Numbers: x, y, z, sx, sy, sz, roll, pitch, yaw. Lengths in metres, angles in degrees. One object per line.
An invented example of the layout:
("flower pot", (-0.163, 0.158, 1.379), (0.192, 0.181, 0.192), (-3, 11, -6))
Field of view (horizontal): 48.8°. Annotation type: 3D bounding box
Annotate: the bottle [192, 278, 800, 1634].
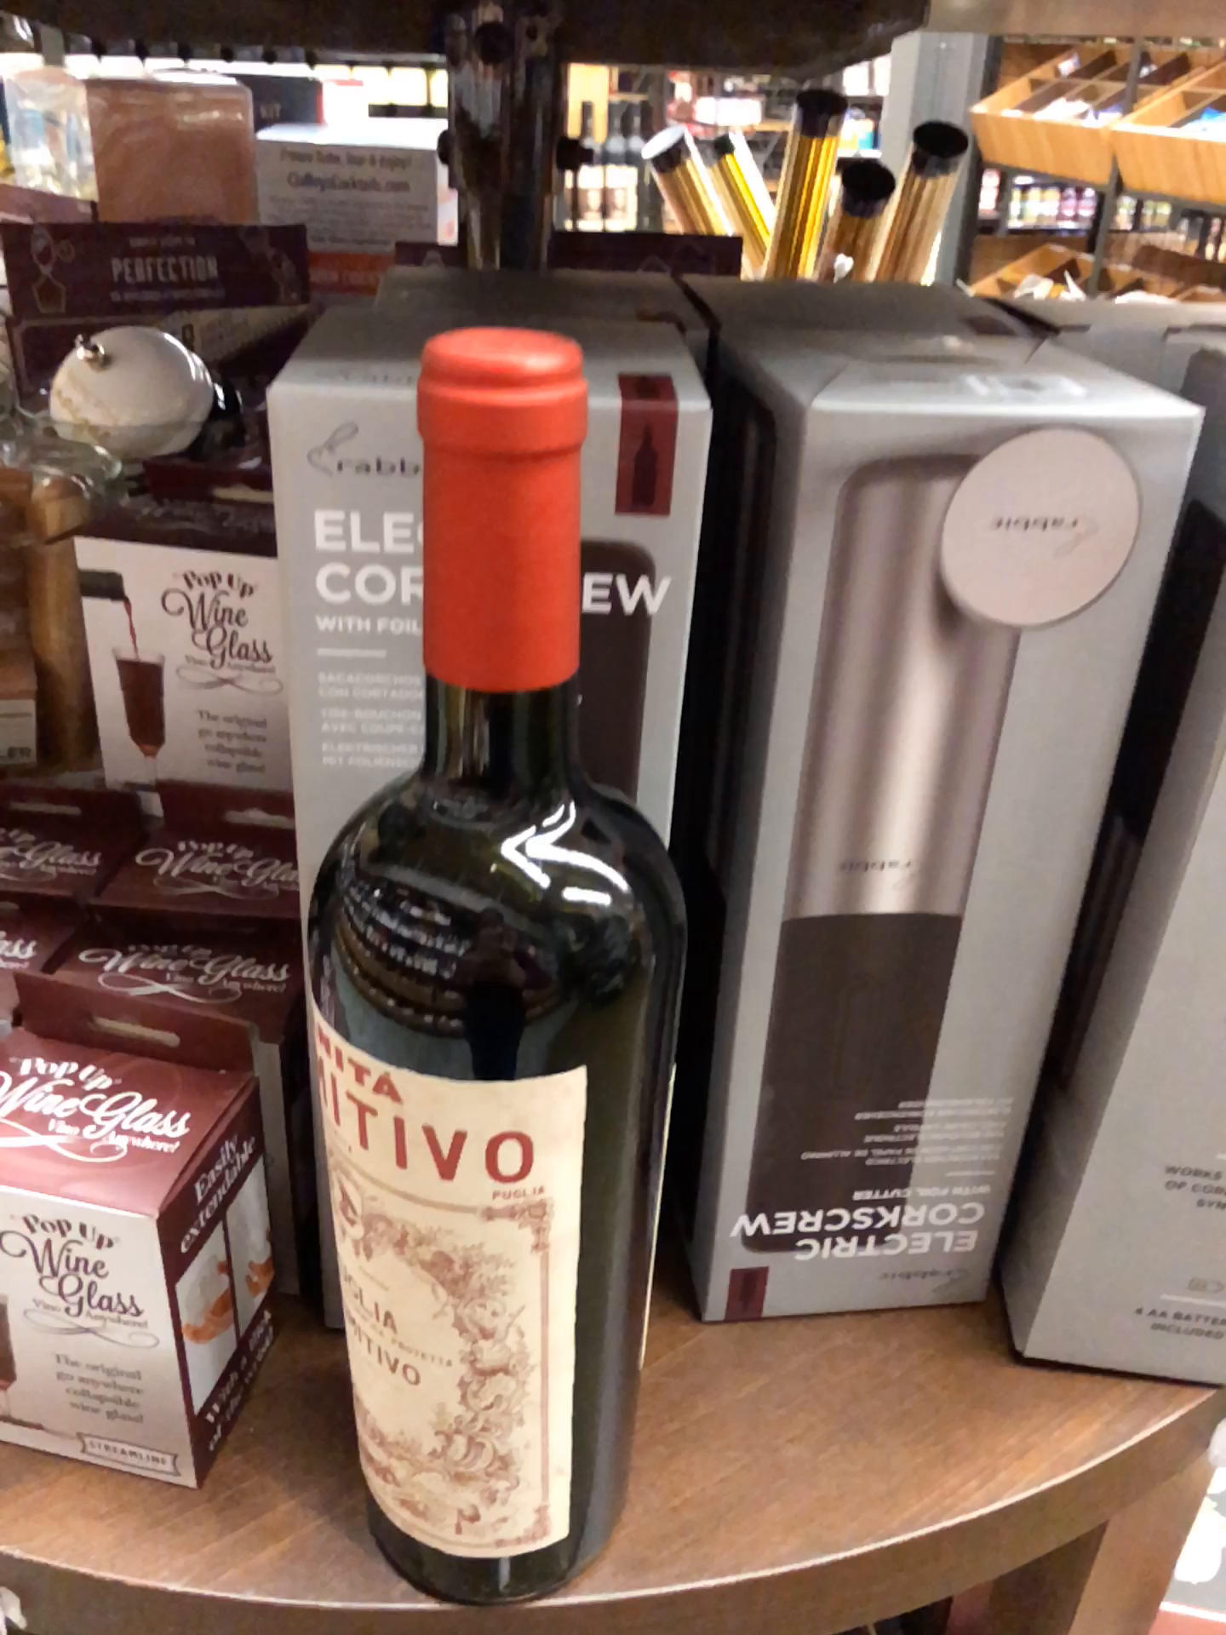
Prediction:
("bottle", (-0.024, 0.049, 0.293), (0.071, 0.299, 0.072), (1, 29, -1))
